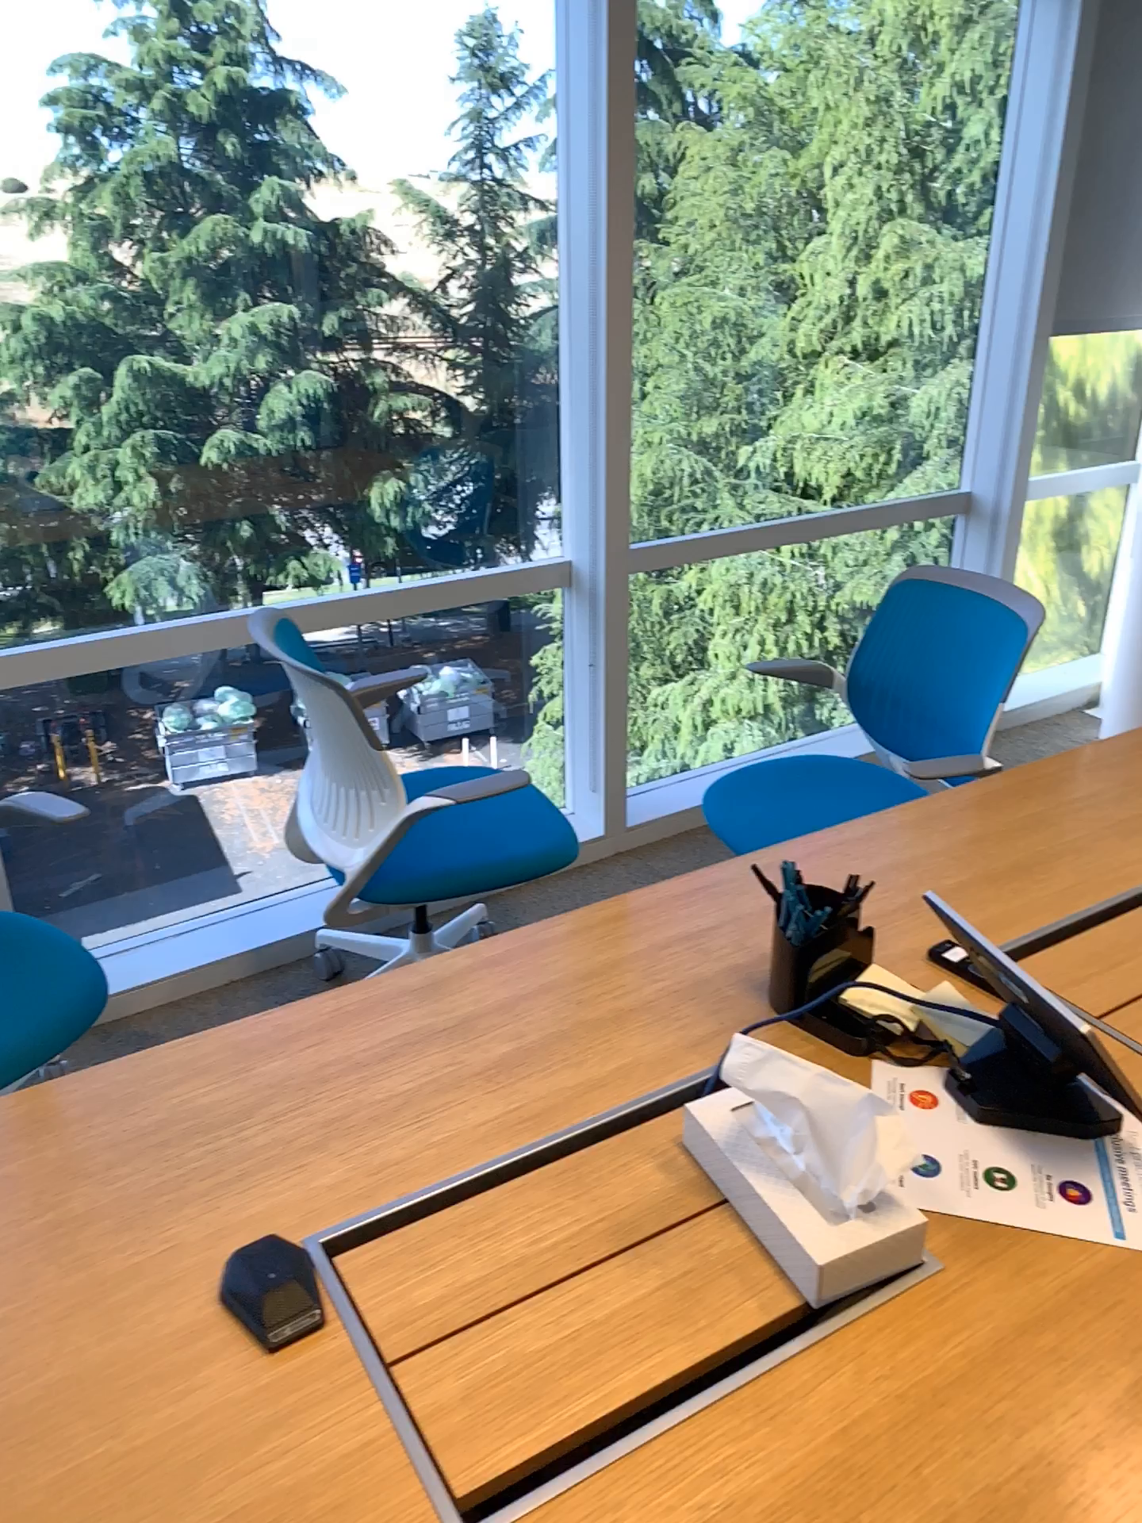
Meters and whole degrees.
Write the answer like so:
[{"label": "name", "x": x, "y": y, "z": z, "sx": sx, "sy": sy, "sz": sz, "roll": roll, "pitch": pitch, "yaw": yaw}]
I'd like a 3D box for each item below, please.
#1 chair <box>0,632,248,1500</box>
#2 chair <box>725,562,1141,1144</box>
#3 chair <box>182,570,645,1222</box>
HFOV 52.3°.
[{"label": "chair", "x": -1.239, "y": 0.473, "z": 2.219, "sx": 0.873, "sy": 1.134, "sz": 0.731, "roll": 21, "pitch": 32, "yaw": 39}, {"label": "chair", "x": 0.795, "y": 0.178, "z": 2.677, "sx": 0.630, "sy": 1.094, "sz": 0.543, "roll": -12, "pitch": 26, "yaw": -24}, {"label": "chair", "x": -0.310, "y": 0.220, "z": 2.408, "sx": 0.640, "sy": 1.014, "sz": 0.653, "roll": -16, "pitch": 29, "yaw": -32}]
